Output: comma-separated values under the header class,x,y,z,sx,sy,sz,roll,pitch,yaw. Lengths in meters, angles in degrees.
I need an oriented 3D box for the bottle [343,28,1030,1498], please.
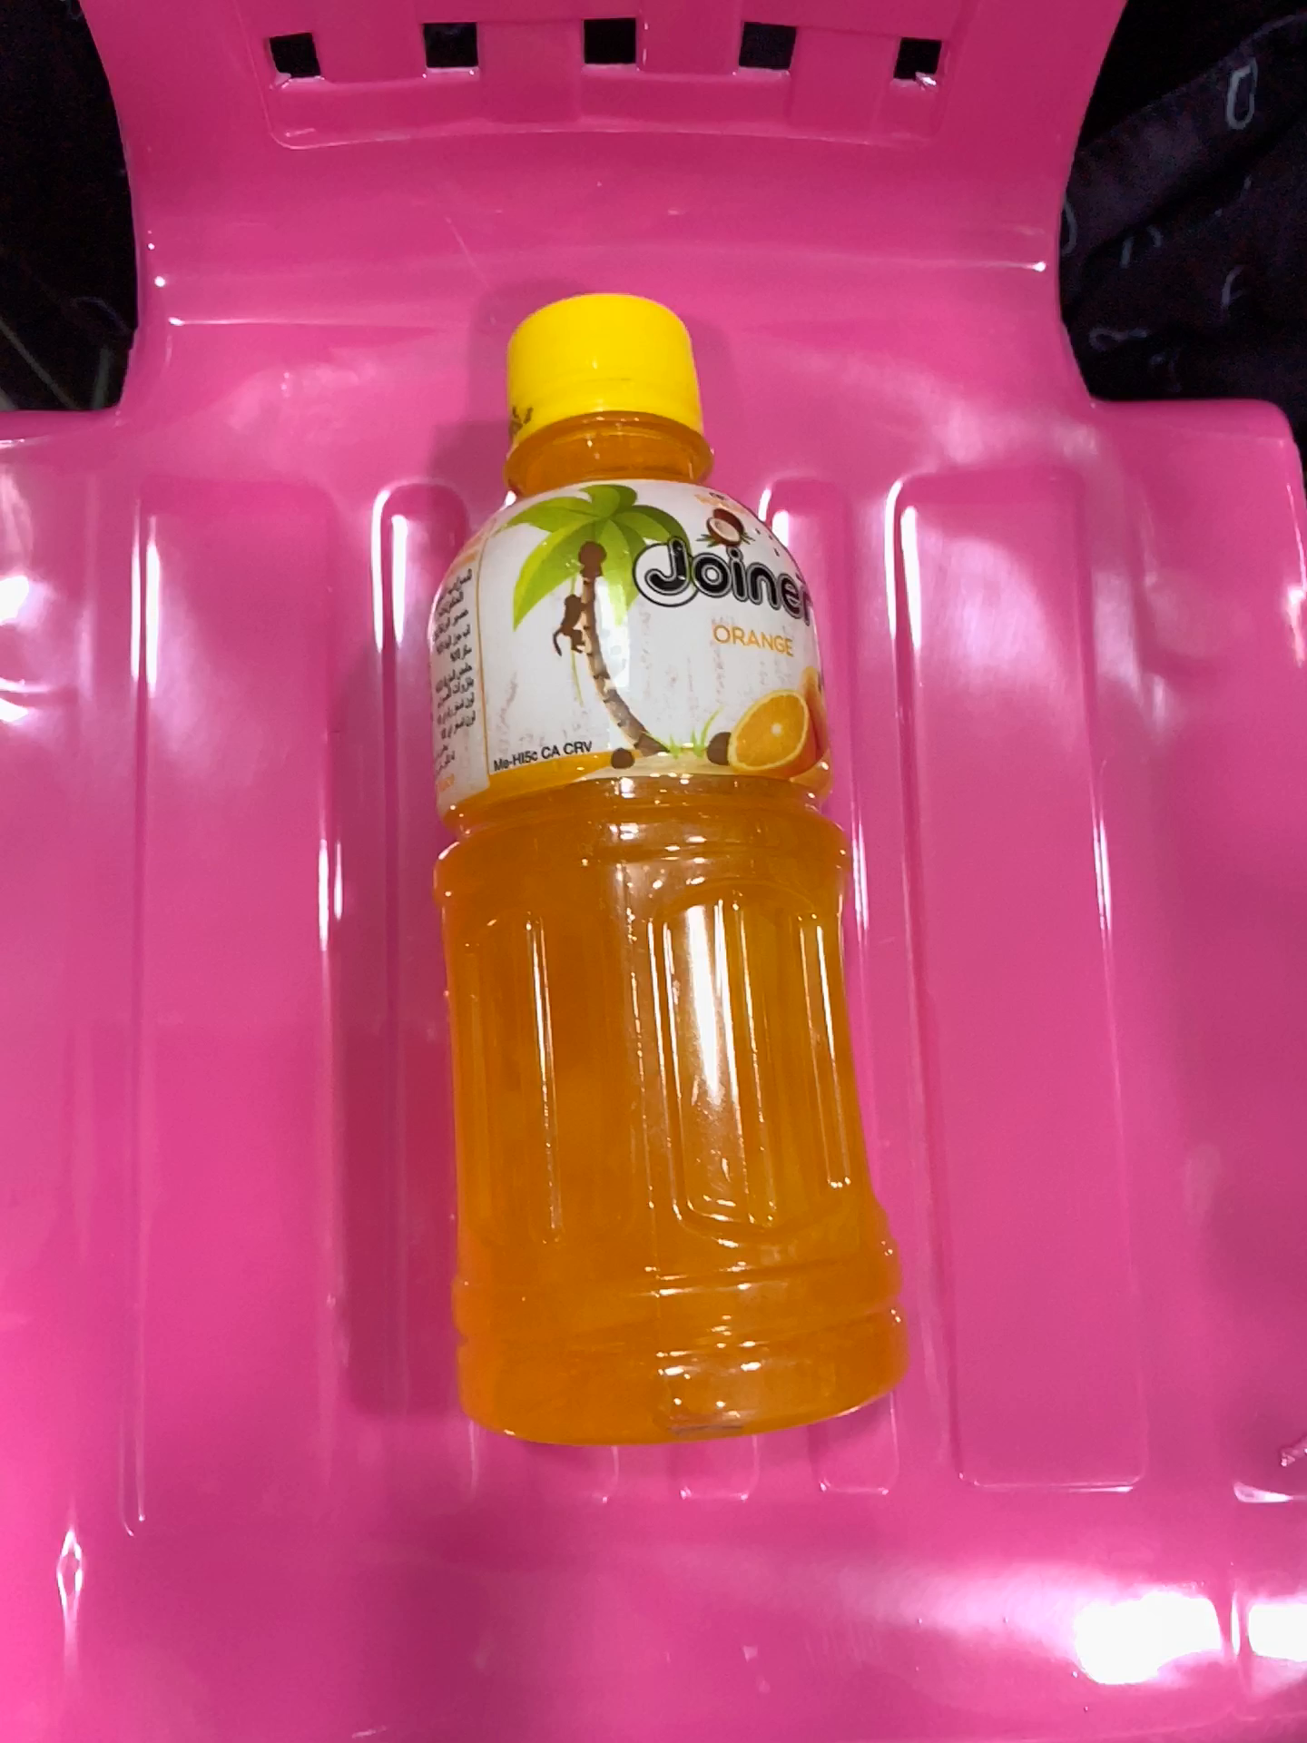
class,x,y,z,sx,sy,sz,roll,pitch,yaw
bottle,0.000,-0.014,0.198,0.070,0.060,0.170,-1,84,-25
